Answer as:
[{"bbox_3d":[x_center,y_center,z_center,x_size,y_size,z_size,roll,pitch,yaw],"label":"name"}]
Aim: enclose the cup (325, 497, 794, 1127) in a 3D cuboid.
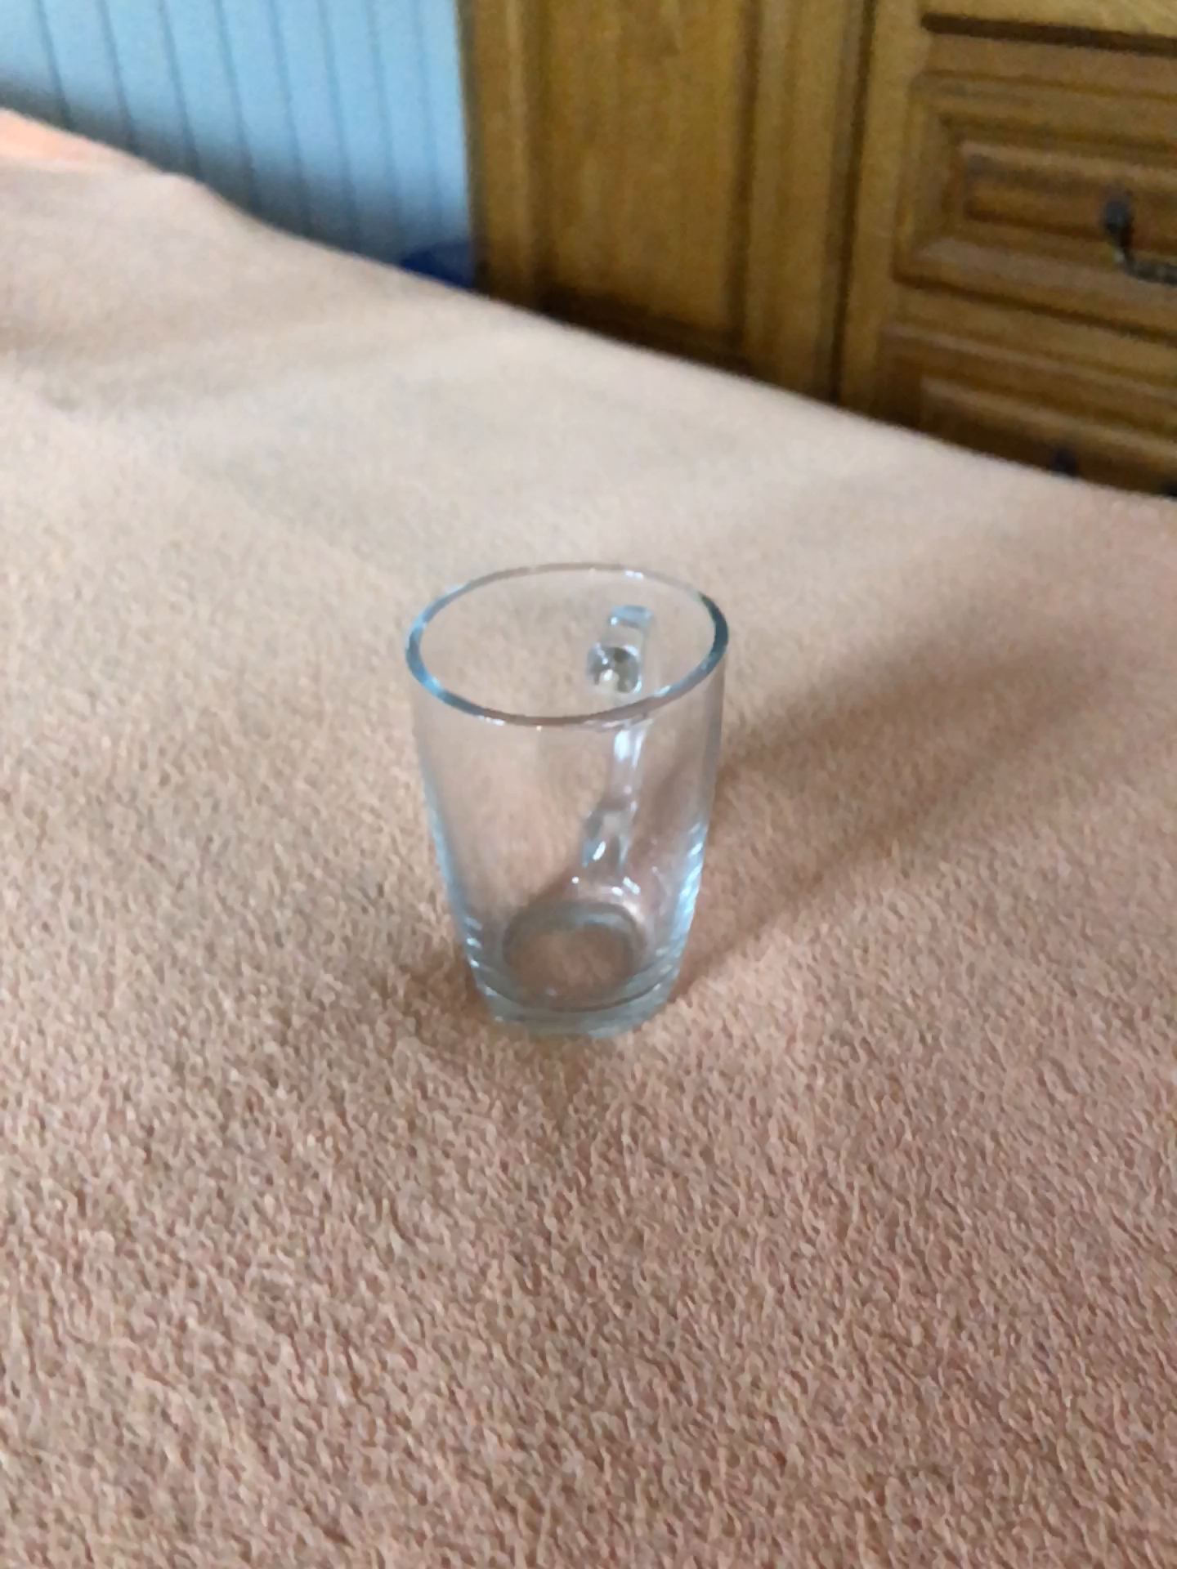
[{"bbox_3d":[0.001,0.001,0.291,0.070,0.089,0.101,8,35,13],"label":"cup"}]
